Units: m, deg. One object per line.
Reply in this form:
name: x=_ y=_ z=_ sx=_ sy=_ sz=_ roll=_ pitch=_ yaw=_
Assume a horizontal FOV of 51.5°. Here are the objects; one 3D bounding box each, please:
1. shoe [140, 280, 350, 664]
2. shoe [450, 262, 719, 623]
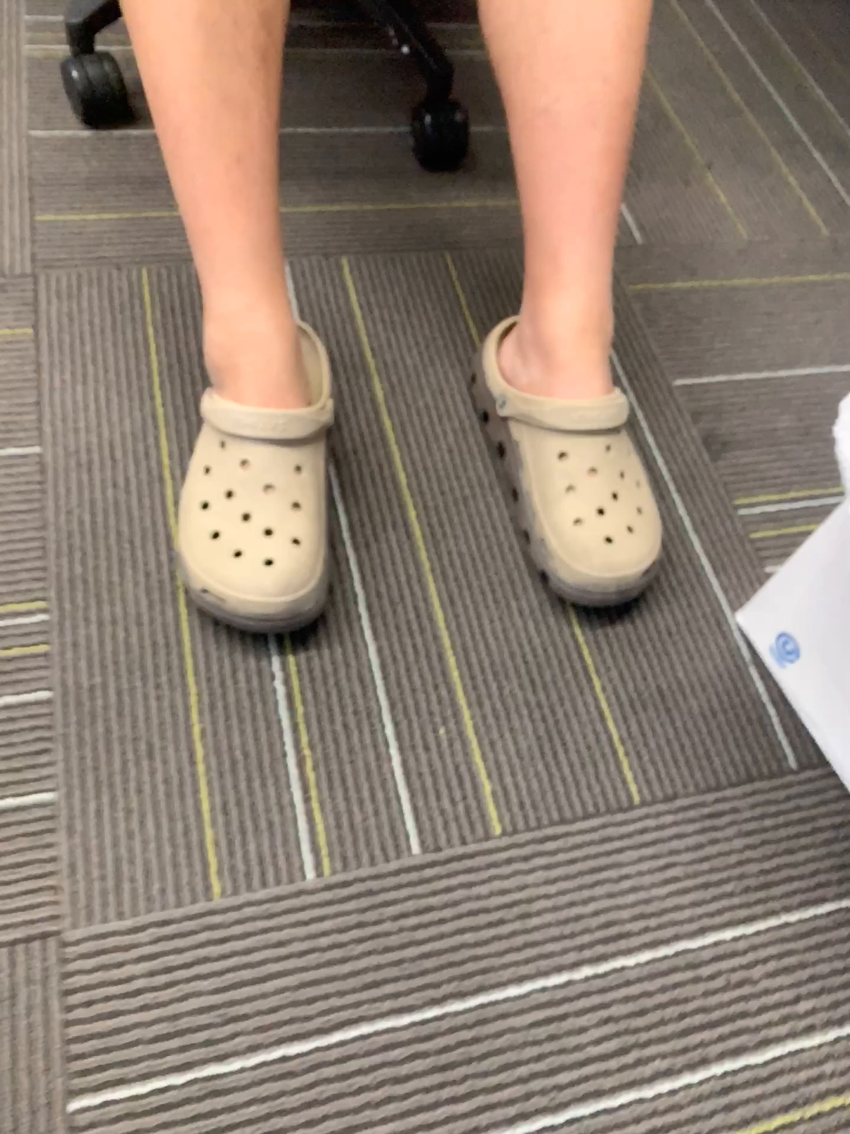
shoe: x=-0.136 y=-0.087 z=0.726 sx=0.134 sy=0.080 sz=0.321 roll=3 pitch=59 yaw=-7
shoe: x=0.125 y=-0.122 z=0.777 sx=0.140 sy=0.080 sz=0.331 roll=-4 pitch=60 yaw=-12
